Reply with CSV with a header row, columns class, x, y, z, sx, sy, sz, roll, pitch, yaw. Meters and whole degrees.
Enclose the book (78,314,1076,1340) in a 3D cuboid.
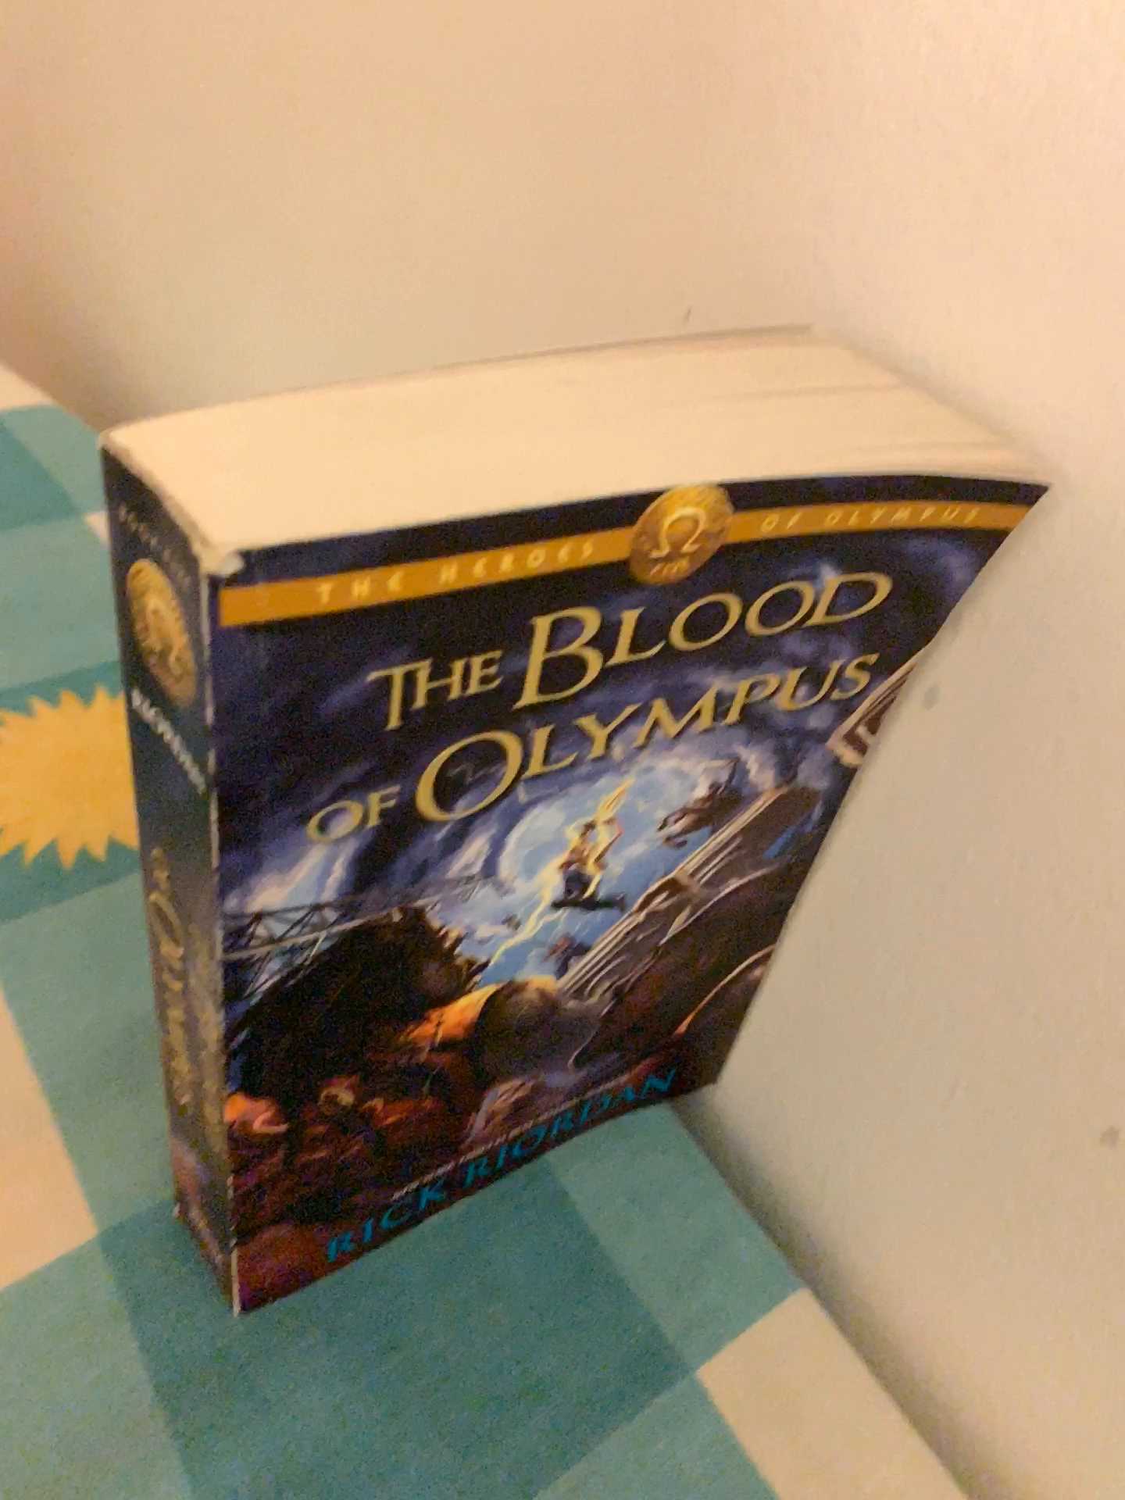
class,x,y,z,sx,sy,sz,roll,pitch,yaw
book,-0.004,0.016,0.231,0.151,0.179,0.051,-16,48,-32
